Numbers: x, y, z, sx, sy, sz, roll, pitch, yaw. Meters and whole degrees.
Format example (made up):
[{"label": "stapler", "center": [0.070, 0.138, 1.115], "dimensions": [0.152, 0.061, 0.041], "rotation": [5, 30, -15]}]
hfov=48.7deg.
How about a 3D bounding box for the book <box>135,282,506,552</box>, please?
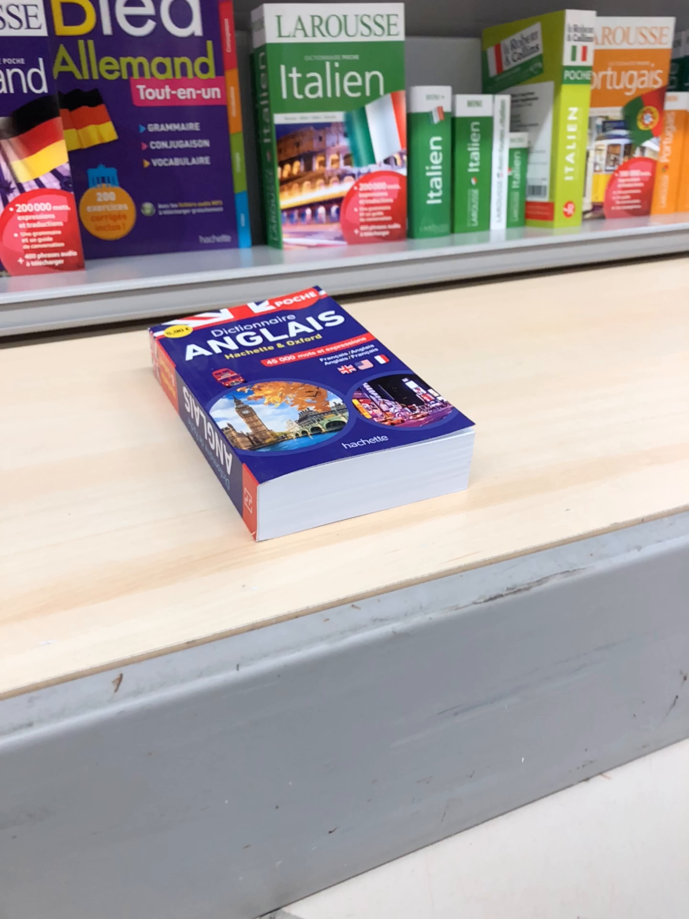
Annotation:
[{"label": "book", "center": [-0.024, -0.037, 0.394], "dimensions": [0.119, 0.040, 0.188], "rotation": [-13, 35, -24]}]
